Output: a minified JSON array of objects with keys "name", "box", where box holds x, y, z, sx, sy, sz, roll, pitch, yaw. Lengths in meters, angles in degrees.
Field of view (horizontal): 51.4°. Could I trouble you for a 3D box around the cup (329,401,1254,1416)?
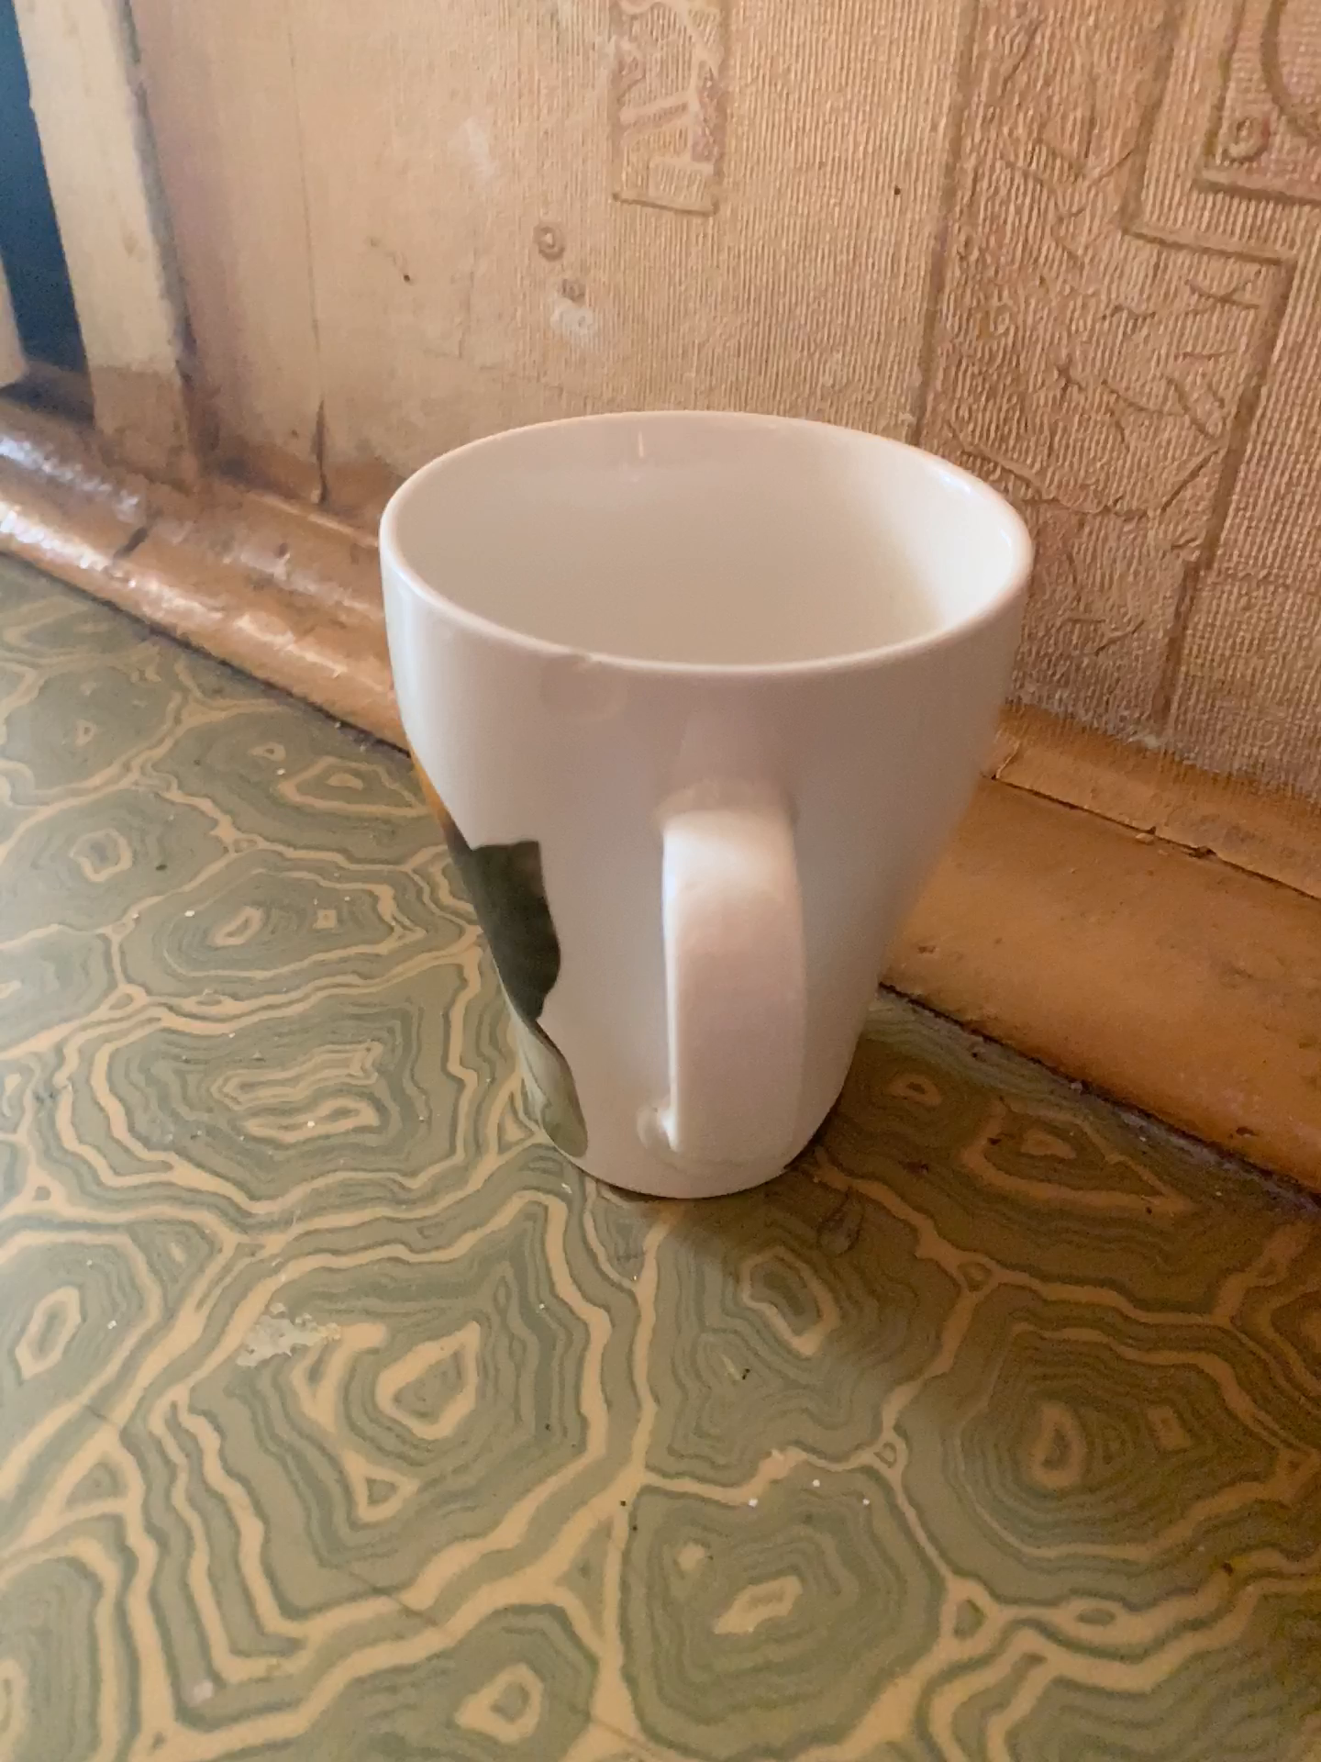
[{"name":"cup","box":[0.005,-0.005,0.212,0.093,0.099,0.119,-3,36,-8]}]
